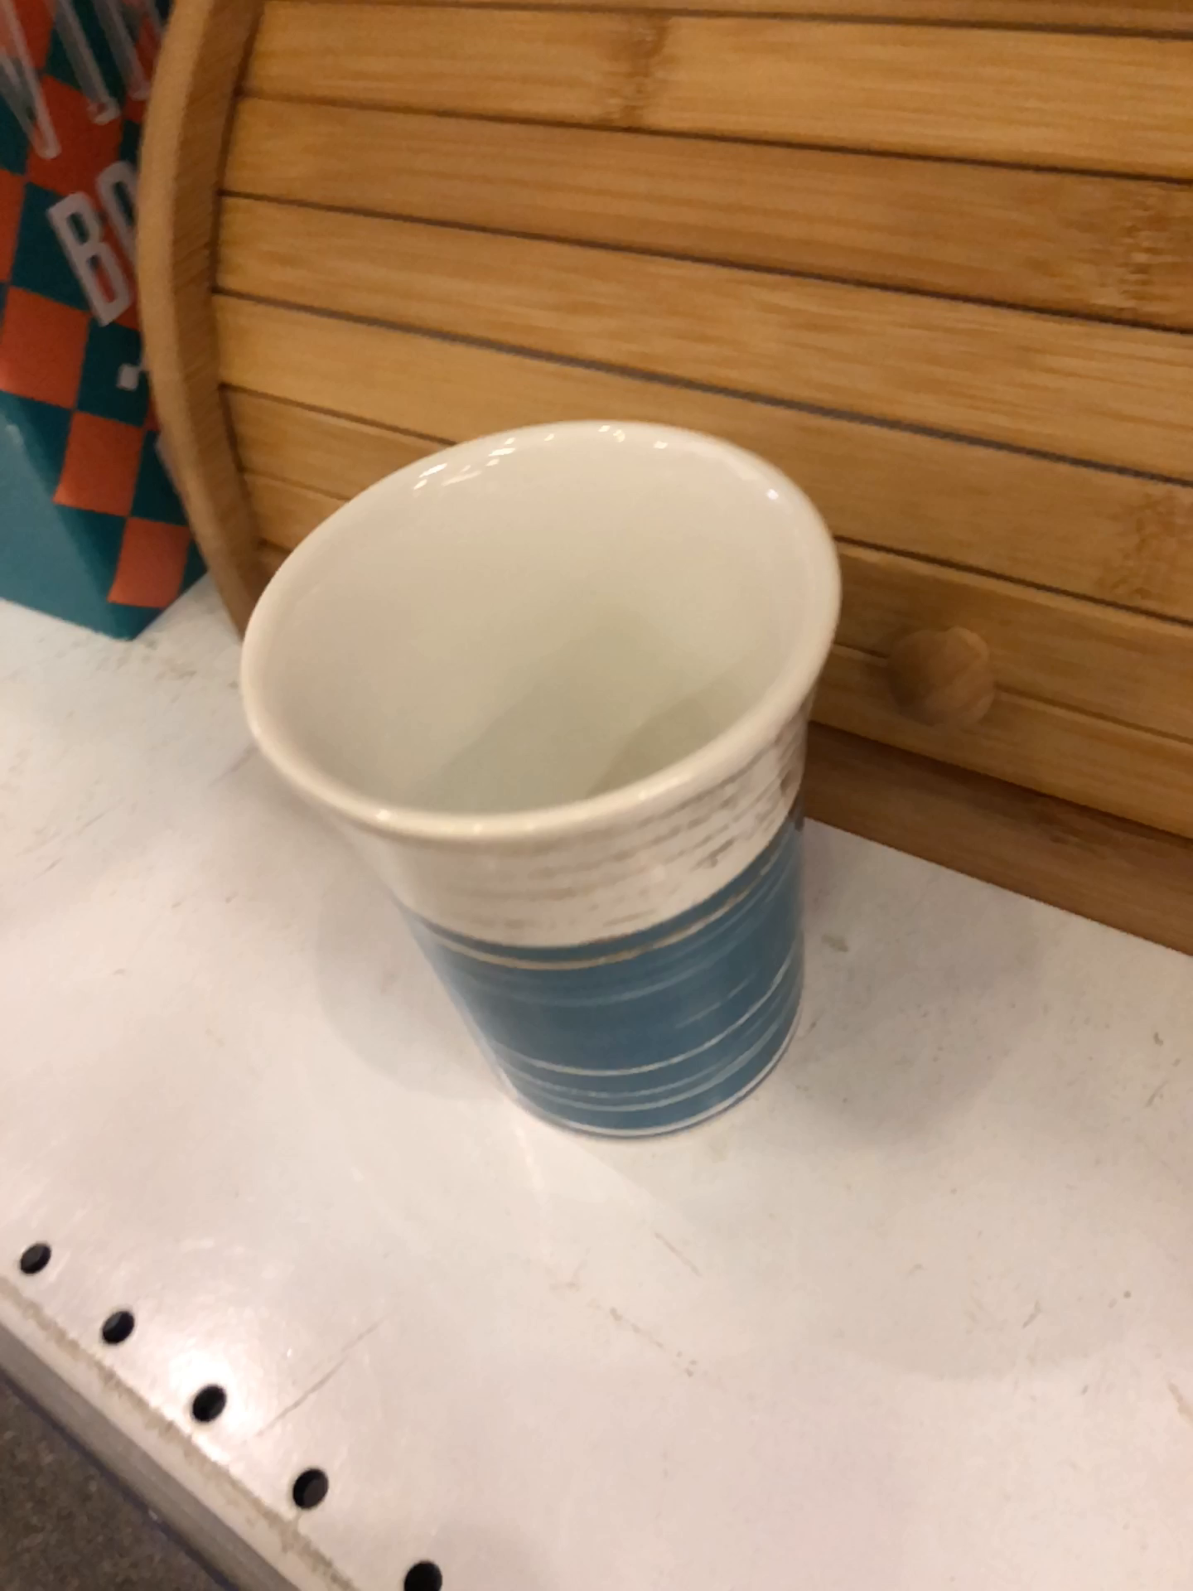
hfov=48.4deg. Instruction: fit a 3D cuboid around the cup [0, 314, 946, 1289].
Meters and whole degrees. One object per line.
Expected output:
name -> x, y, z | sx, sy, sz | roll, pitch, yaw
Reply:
cup -> -0.018, -0.006, 0.228 | 0.121, 0.089, 0.090 | 32, 63, 34
